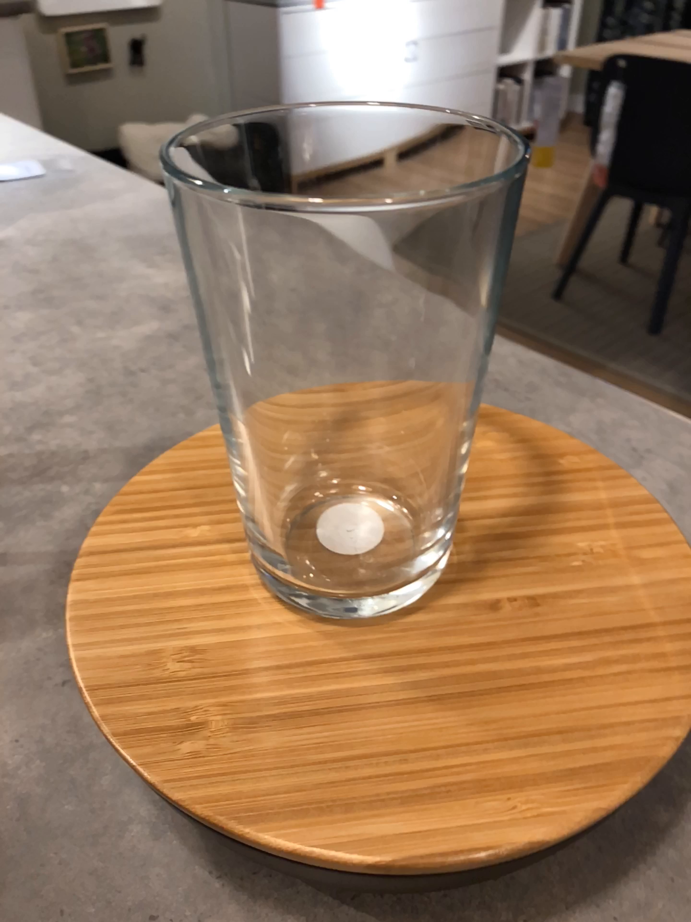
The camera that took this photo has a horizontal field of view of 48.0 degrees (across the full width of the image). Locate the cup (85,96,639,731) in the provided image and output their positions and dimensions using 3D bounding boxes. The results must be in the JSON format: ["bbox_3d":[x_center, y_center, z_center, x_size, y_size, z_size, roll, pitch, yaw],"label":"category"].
[{"bbox_3d":[0.006,-0.021,0.237,0.100,0.139,0.100,0,36,0],"label":"cup"}]
